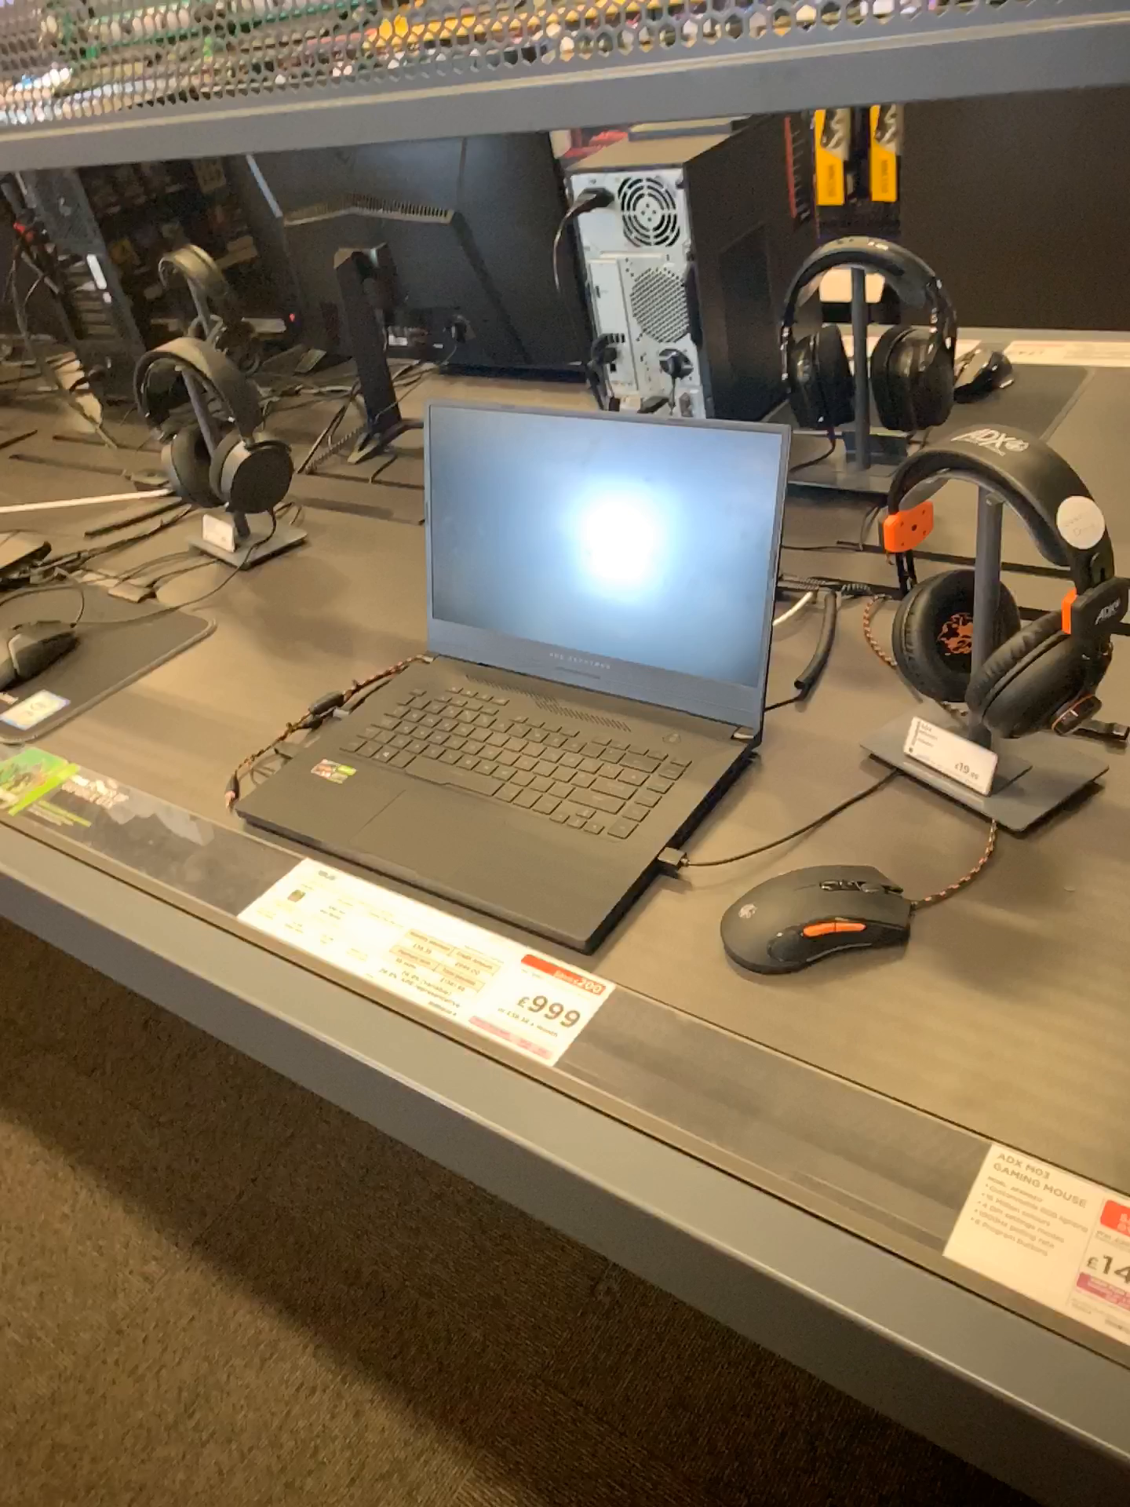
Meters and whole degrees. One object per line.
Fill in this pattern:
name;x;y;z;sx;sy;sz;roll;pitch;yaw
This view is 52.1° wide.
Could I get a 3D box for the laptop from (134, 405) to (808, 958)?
laptop;-0.054;-0.086;0.874;0.349;0.203;0.325;16;45;32
